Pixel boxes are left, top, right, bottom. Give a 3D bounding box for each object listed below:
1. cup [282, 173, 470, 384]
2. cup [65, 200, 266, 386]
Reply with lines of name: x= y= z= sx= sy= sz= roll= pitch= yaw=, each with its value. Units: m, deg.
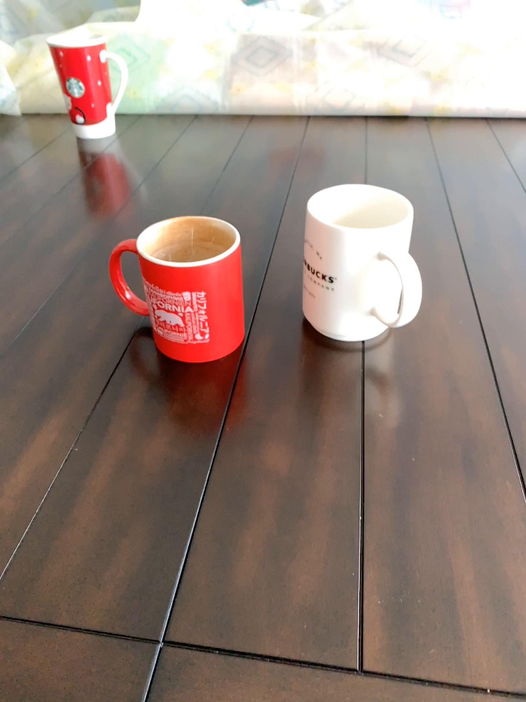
cup: x=0.083 y=-0.065 z=0.453 sx=0.080 sy=0.109 sz=0.131 roll=-19 pitch=42 yaw=-21
cup: x=-0.077 y=-0.054 z=0.467 sx=0.130 sy=0.100 sz=0.090 roll=16 pitch=42 yaw=21
